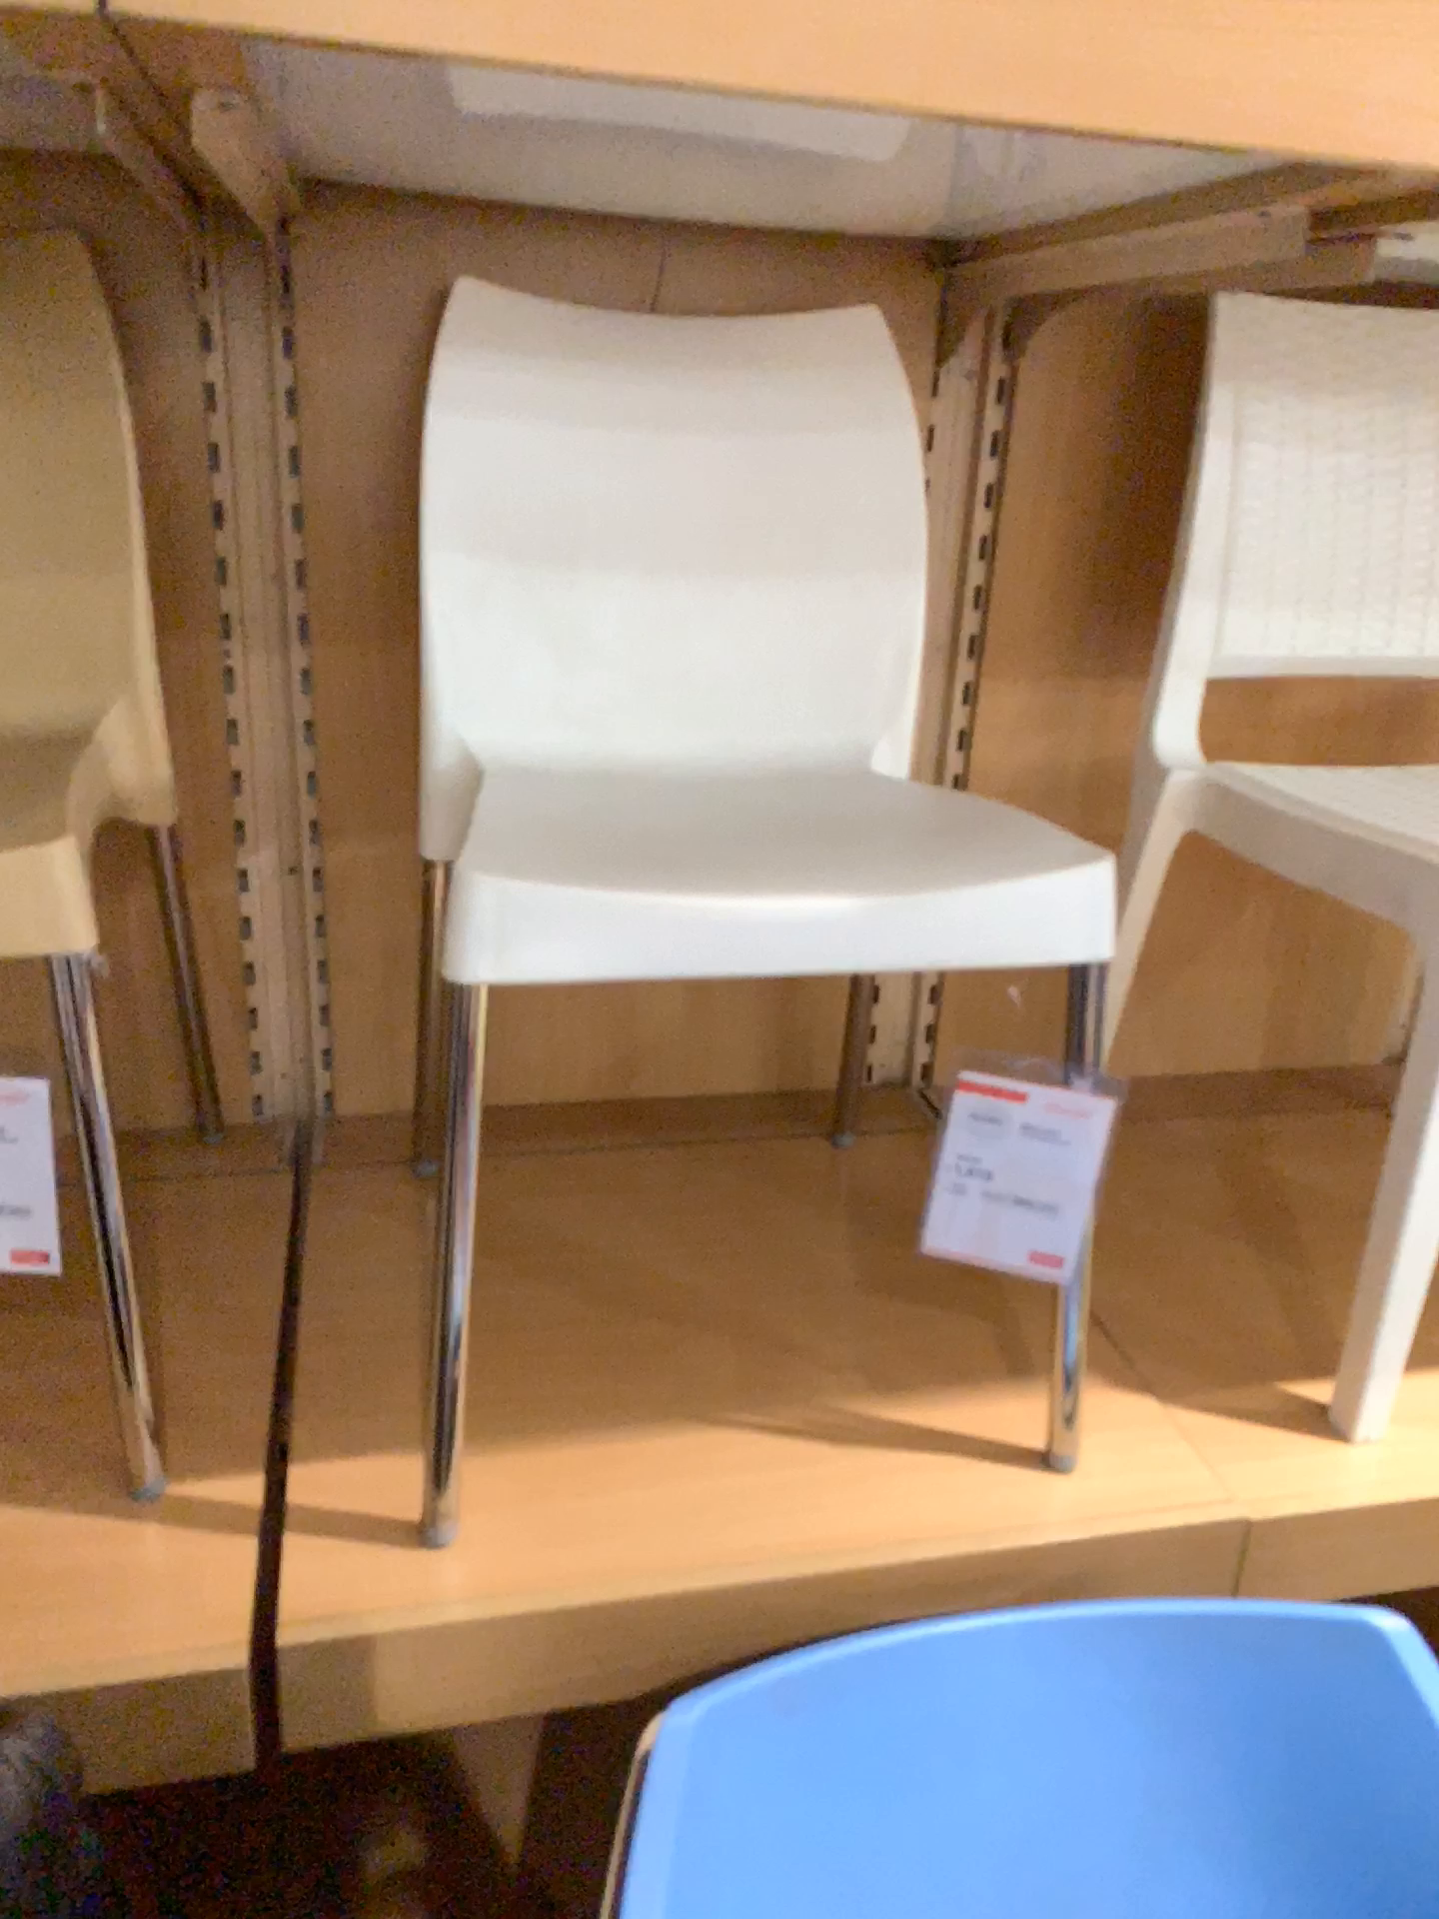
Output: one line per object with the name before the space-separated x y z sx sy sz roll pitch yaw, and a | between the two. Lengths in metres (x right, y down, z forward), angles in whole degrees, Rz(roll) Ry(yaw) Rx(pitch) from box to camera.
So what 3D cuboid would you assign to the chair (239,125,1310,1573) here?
chair | -0.049 -0.121 1.260 0.610 0.917 0.682 -2 22 -14
